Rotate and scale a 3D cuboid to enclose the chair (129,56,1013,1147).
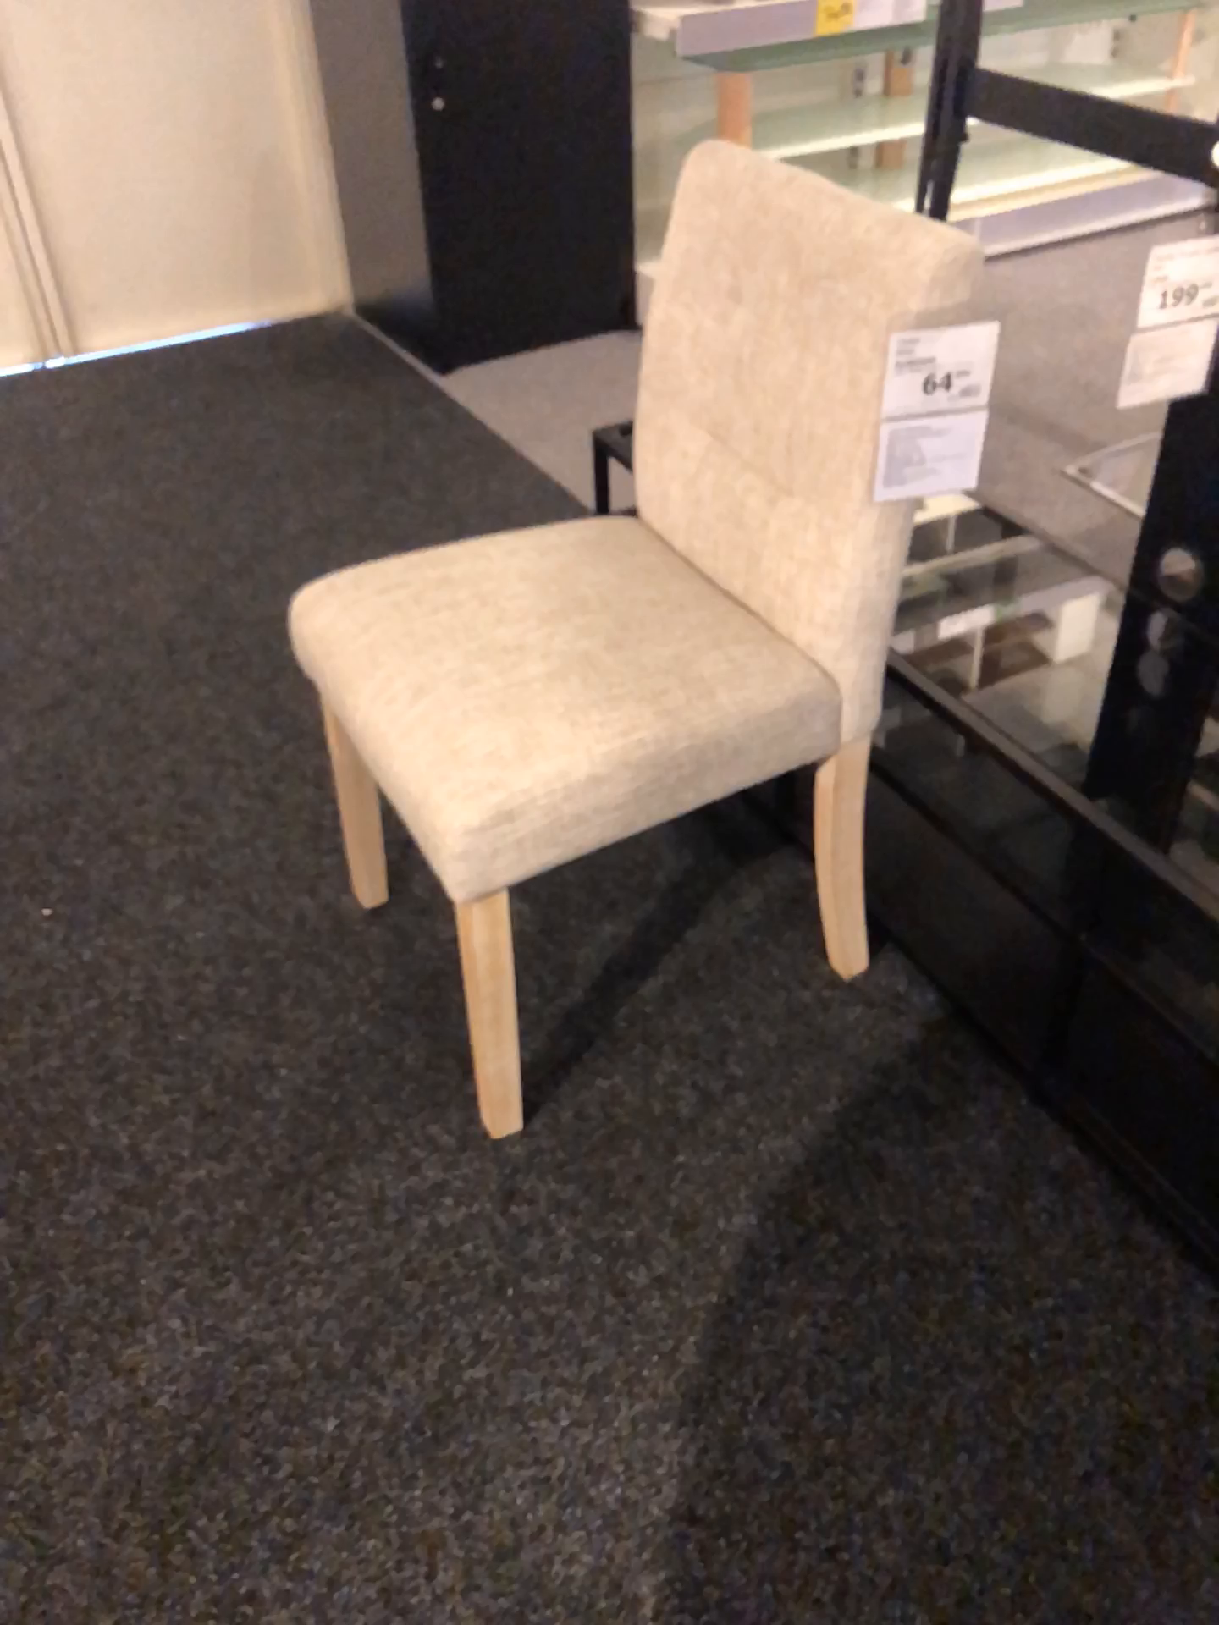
[{"bbox_3d":[-0.056,-0.228,1.393,0.562,0.855,0.552,-18,42,-20],"label":"chair"}]
